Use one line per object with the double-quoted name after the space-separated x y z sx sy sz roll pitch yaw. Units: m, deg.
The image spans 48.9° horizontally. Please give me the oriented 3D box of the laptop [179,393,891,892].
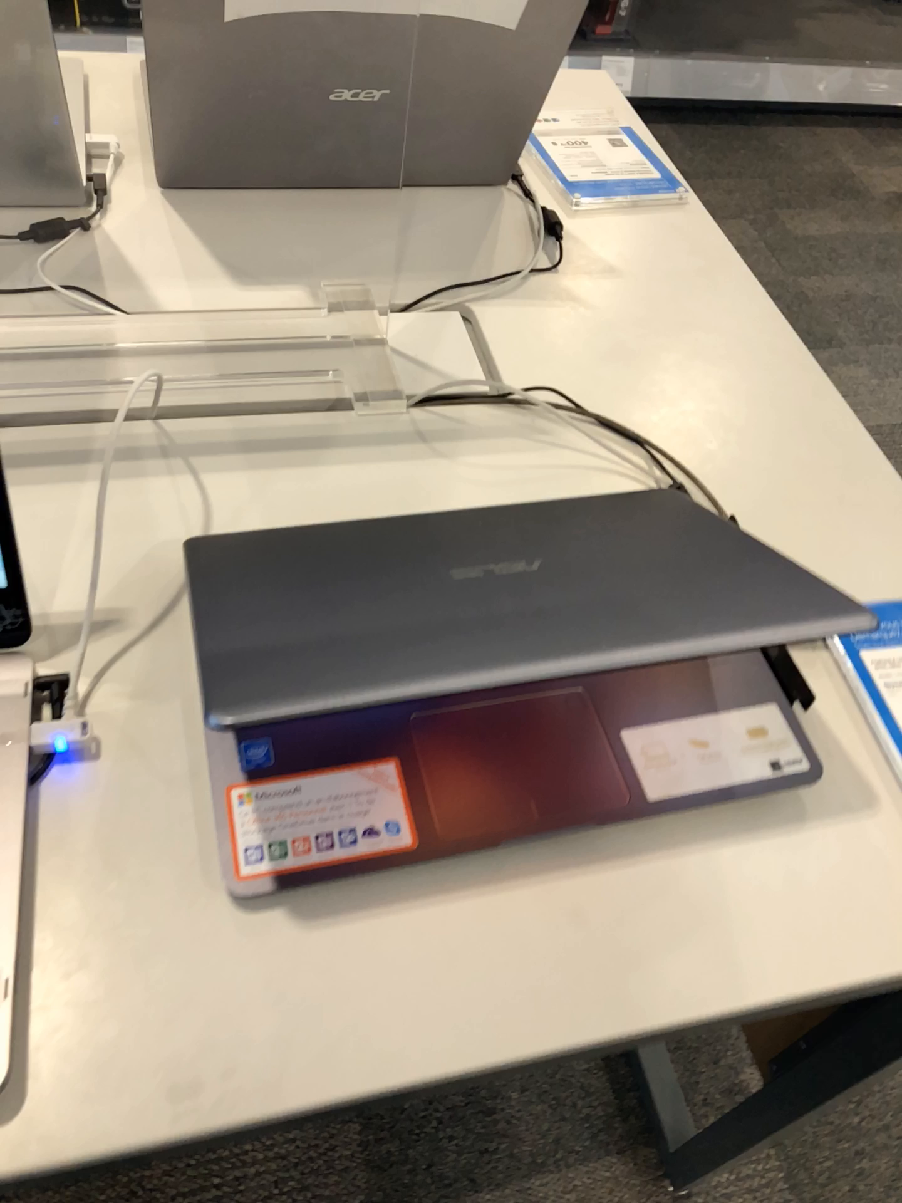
0.027 0.005 0.515 0.300 0.099 0.201 -7 52 -16 "laptop"
